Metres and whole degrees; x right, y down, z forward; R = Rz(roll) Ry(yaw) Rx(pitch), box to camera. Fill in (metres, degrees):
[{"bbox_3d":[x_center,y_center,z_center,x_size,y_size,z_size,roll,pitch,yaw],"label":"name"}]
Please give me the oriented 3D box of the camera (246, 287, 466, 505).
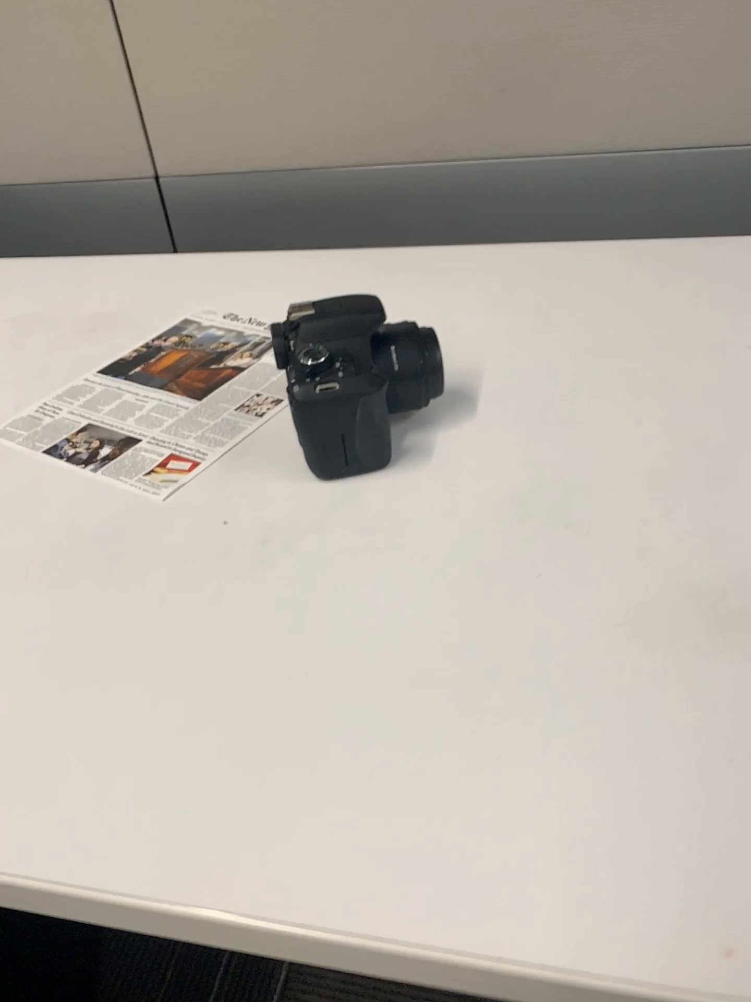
[{"bbox_3d":[-0.019,-0.088,0.606,0.136,0.084,0.152,-12,37,-6],"label":"camera"}]
